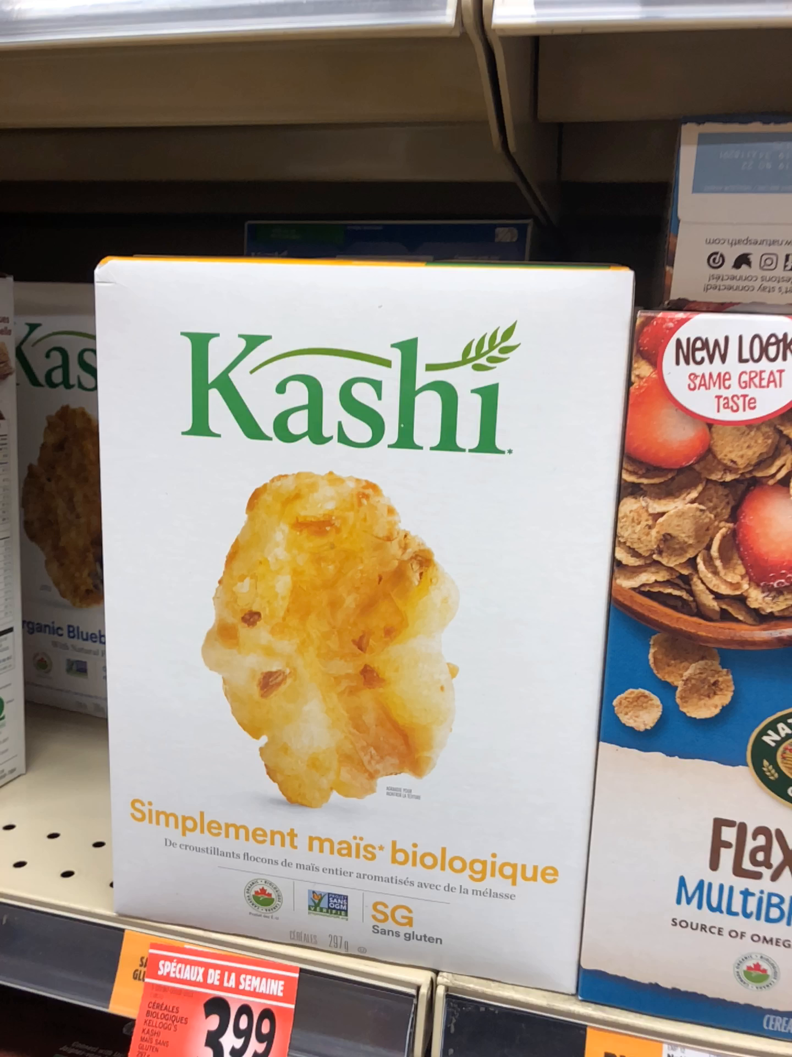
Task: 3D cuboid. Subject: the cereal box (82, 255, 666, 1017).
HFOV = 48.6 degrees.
[{"bbox_3d":[-0.012,0.036,0.348,0.200,0.269,0.060,5,12,12],"label":"cereal box"}]
